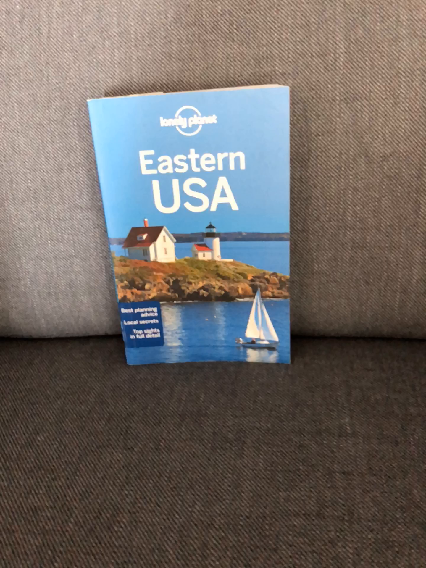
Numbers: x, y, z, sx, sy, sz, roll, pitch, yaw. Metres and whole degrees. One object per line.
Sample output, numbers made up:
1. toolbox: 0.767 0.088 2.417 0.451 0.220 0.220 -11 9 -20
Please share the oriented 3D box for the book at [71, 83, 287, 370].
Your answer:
1. book: -0.015 -0.034 0.350 0.134 0.200 0.039 -1 22 9
